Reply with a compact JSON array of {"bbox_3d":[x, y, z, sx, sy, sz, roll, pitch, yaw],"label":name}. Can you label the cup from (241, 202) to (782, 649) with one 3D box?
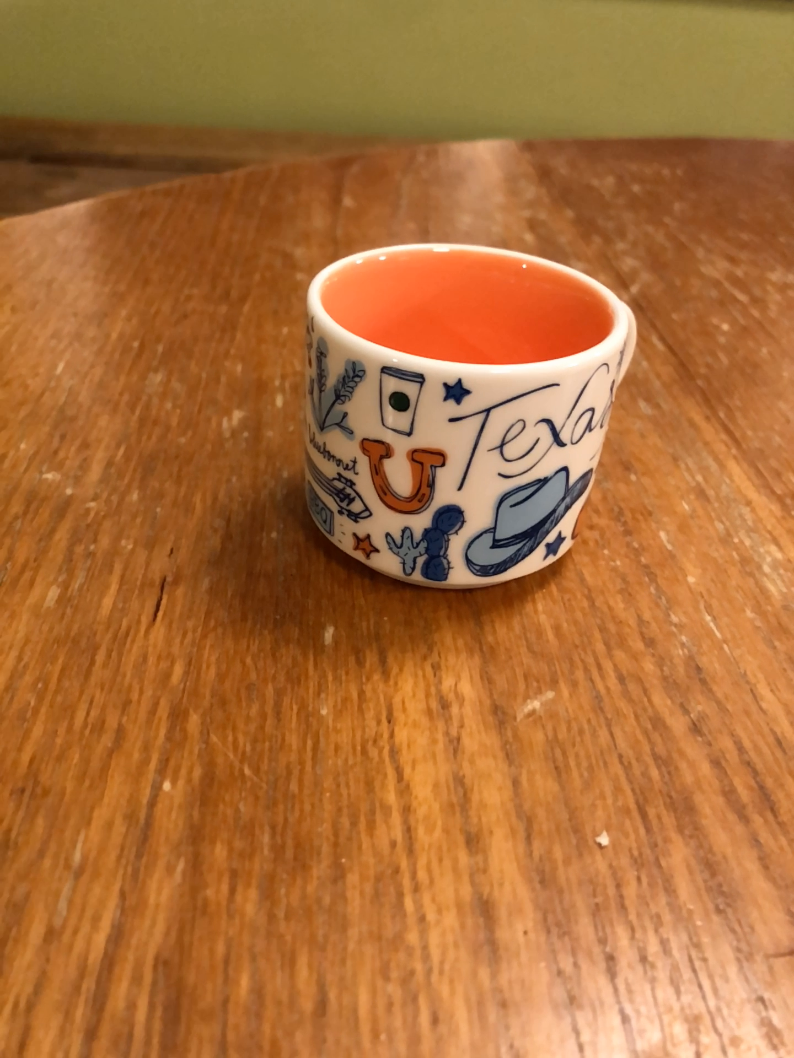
[{"bbox_3d":[0.020,-0.027,0.176,0.077,0.046,0.064,-24,45,-33],"label":"cup"}]
